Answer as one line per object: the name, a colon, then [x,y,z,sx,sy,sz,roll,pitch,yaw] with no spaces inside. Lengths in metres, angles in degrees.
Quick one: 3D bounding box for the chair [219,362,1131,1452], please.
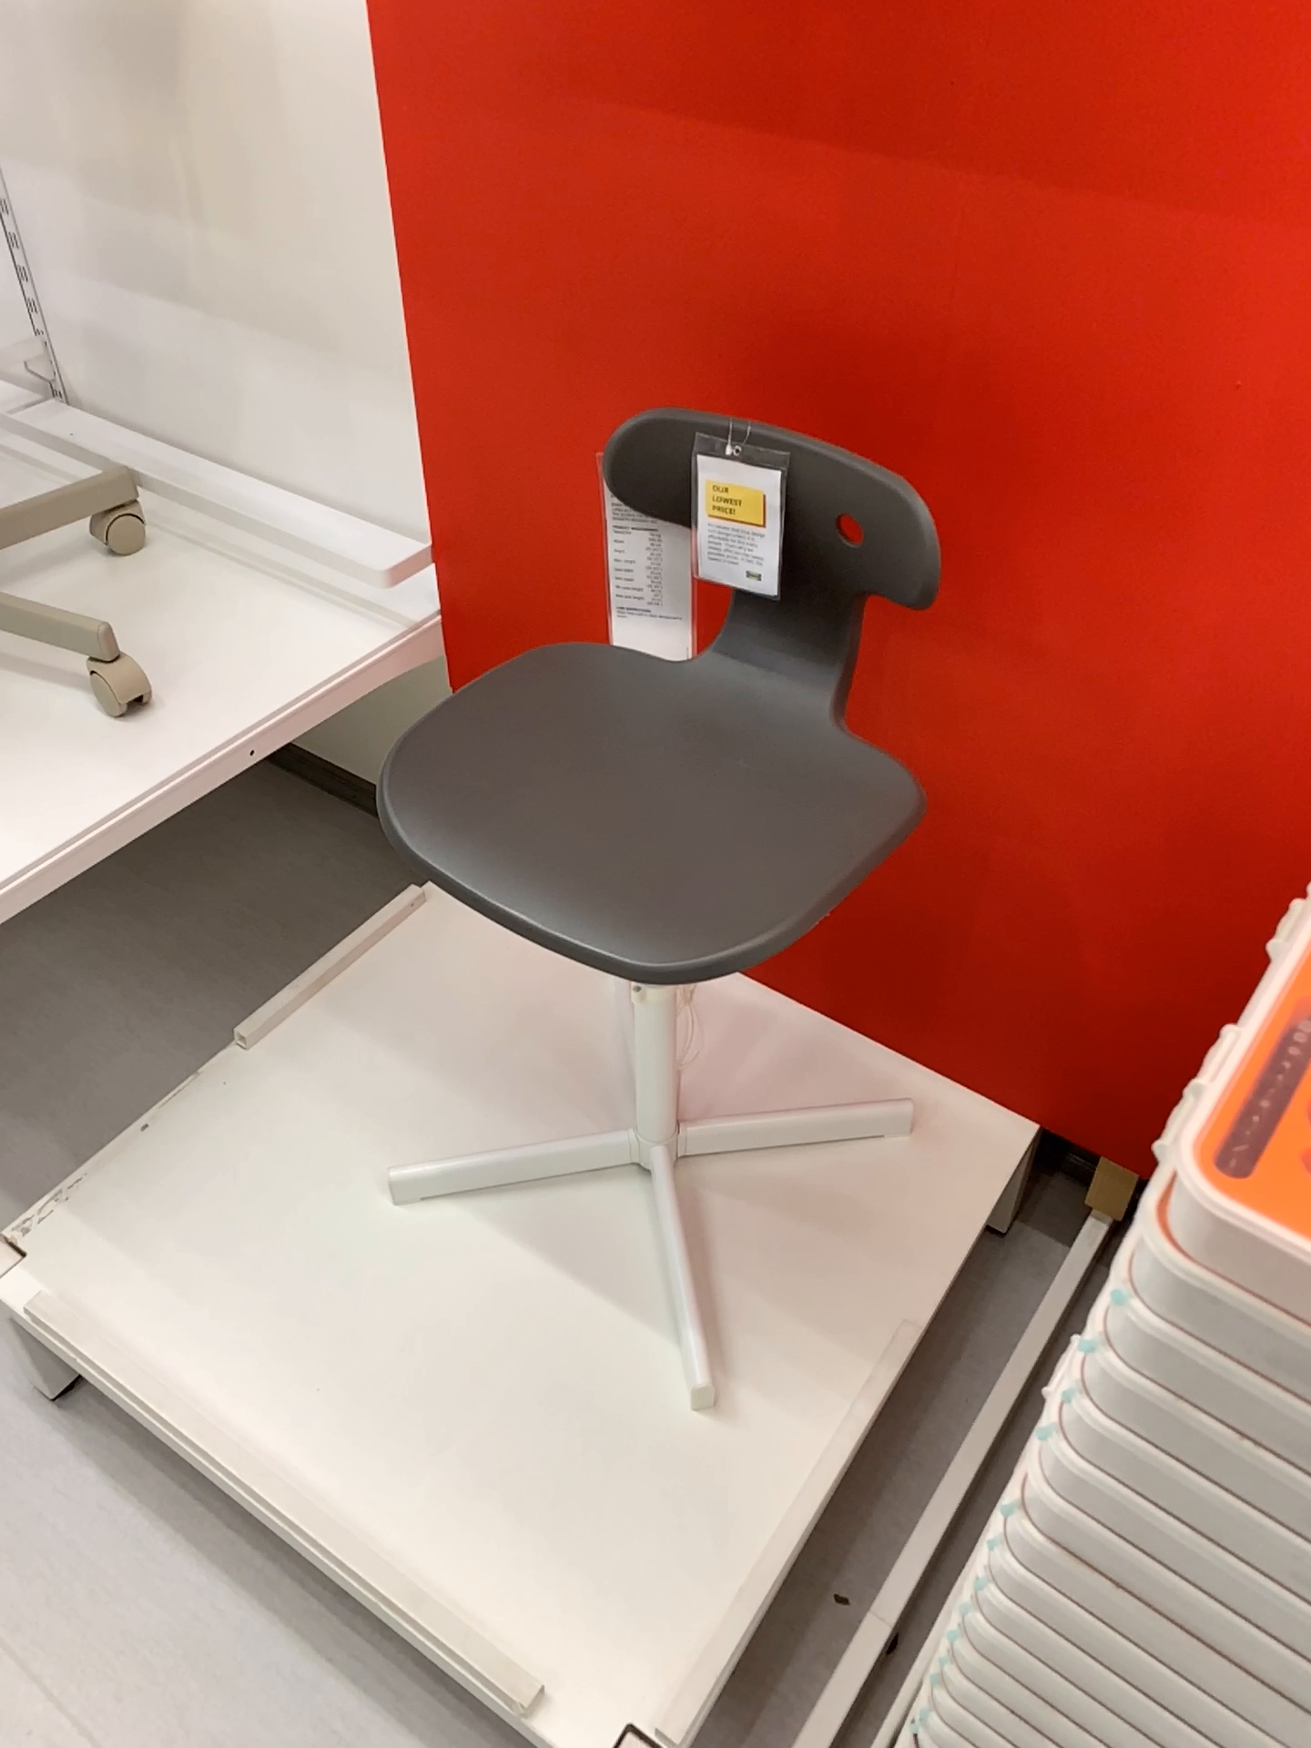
chair: [0.026,0.024,1.154,0.461,0.697,0.451,25,47,26]
